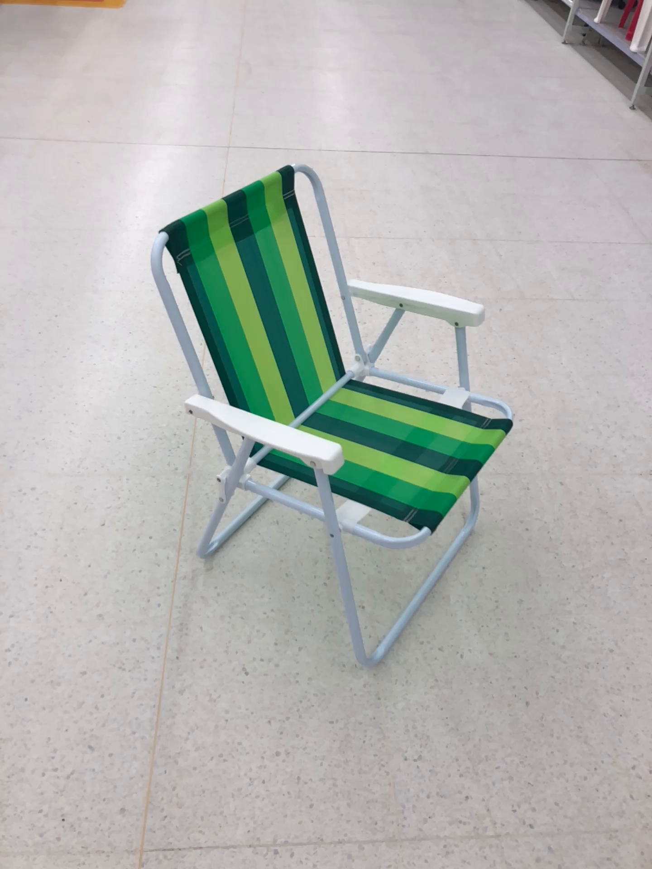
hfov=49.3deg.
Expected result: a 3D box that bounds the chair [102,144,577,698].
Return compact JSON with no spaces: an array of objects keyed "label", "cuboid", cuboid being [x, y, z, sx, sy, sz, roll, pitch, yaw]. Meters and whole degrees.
[{"label":"chair","cuboid":[0.021,-0.036,1.304,0.521,0.715,0.513,26,46,23]}]
